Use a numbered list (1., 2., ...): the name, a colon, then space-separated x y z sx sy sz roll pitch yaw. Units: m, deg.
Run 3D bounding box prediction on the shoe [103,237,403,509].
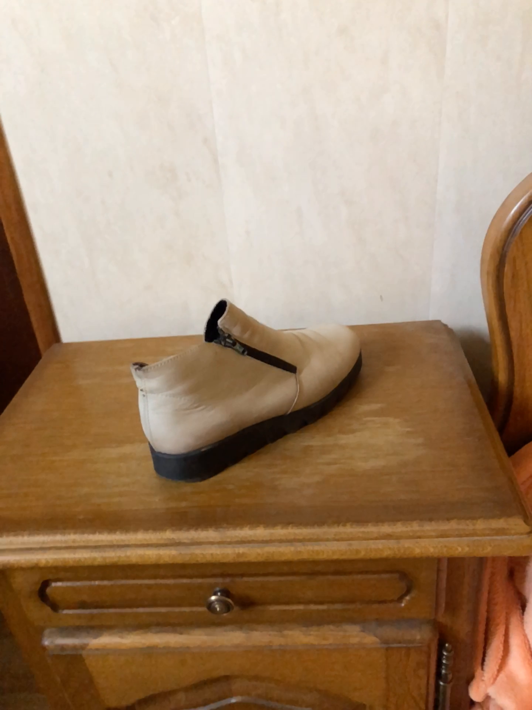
1. shoe: 0.006 -0.002 0.550 0.271 0.129 0.100 -29 37 -35
